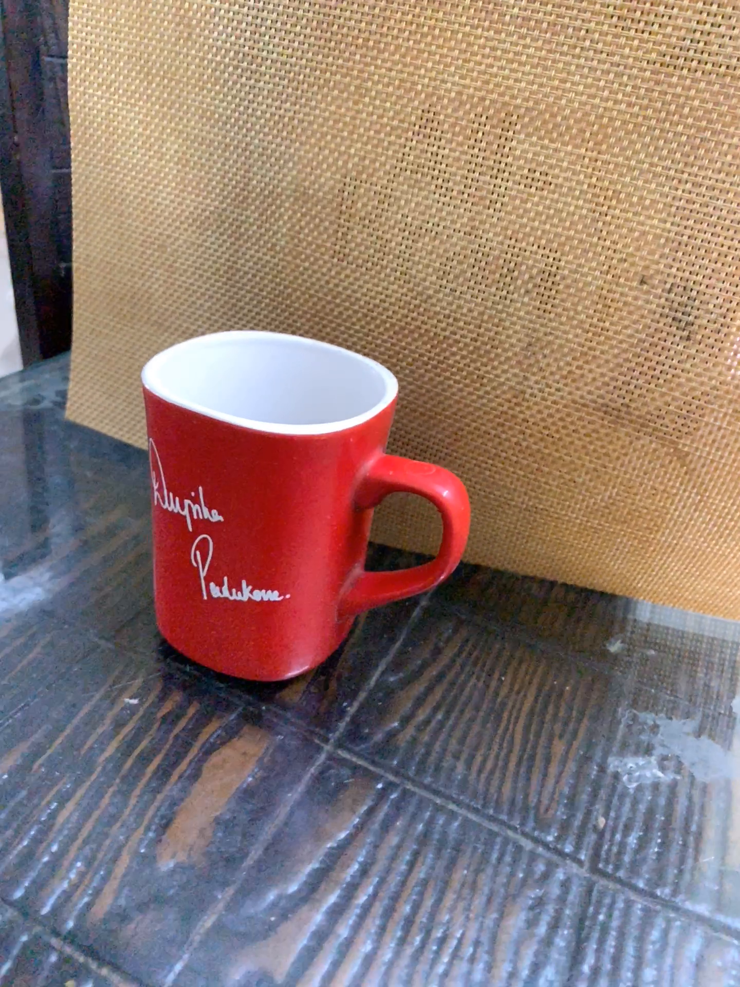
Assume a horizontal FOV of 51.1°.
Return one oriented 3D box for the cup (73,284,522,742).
[{"bbox_3d":[-0.019,-0.001,0.222,0.096,0.085,0.070,17,30,15],"label":"cup"}]
